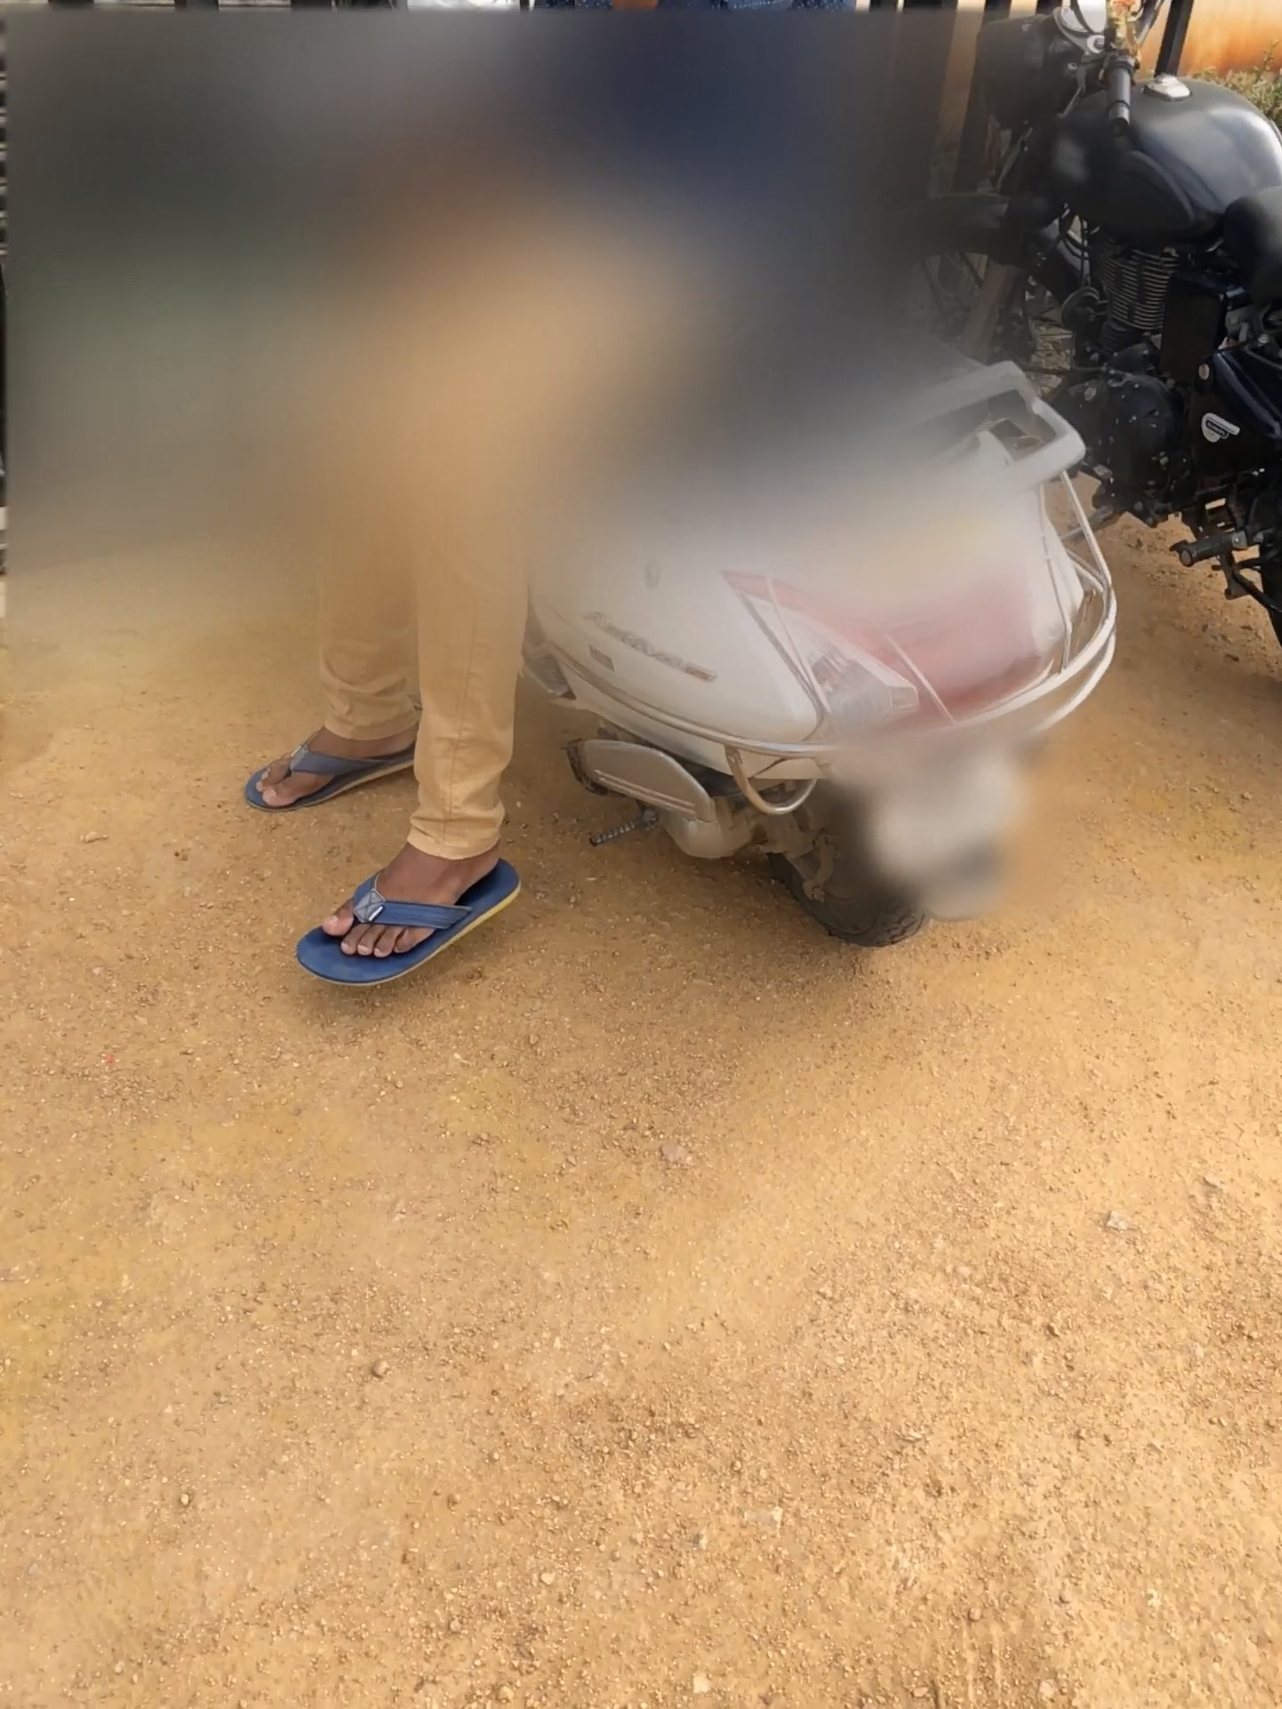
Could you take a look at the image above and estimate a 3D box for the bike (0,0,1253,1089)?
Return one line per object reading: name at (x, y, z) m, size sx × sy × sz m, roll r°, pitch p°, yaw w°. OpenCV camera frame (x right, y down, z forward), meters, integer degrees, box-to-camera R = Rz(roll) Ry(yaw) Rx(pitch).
bike at (-0.223, -0.688, 1.963) m, size 0.653 × 1.069 × 1.648 m, roll -19°, pitch 42°, yaw -30°
